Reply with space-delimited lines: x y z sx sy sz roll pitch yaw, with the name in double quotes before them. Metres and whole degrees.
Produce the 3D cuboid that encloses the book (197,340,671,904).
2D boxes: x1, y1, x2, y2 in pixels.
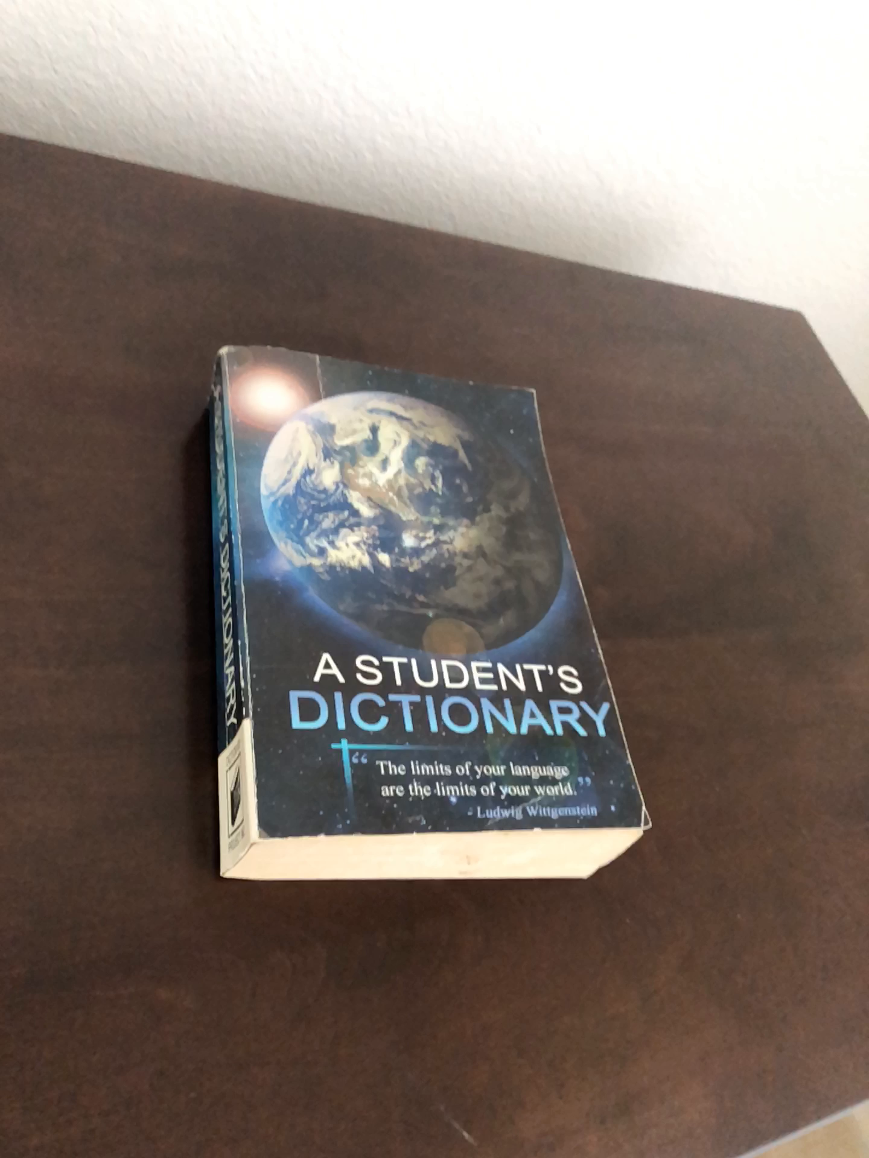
"book" -0.010 0.008 0.360 0.141 0.040 0.202 4 56 -22
